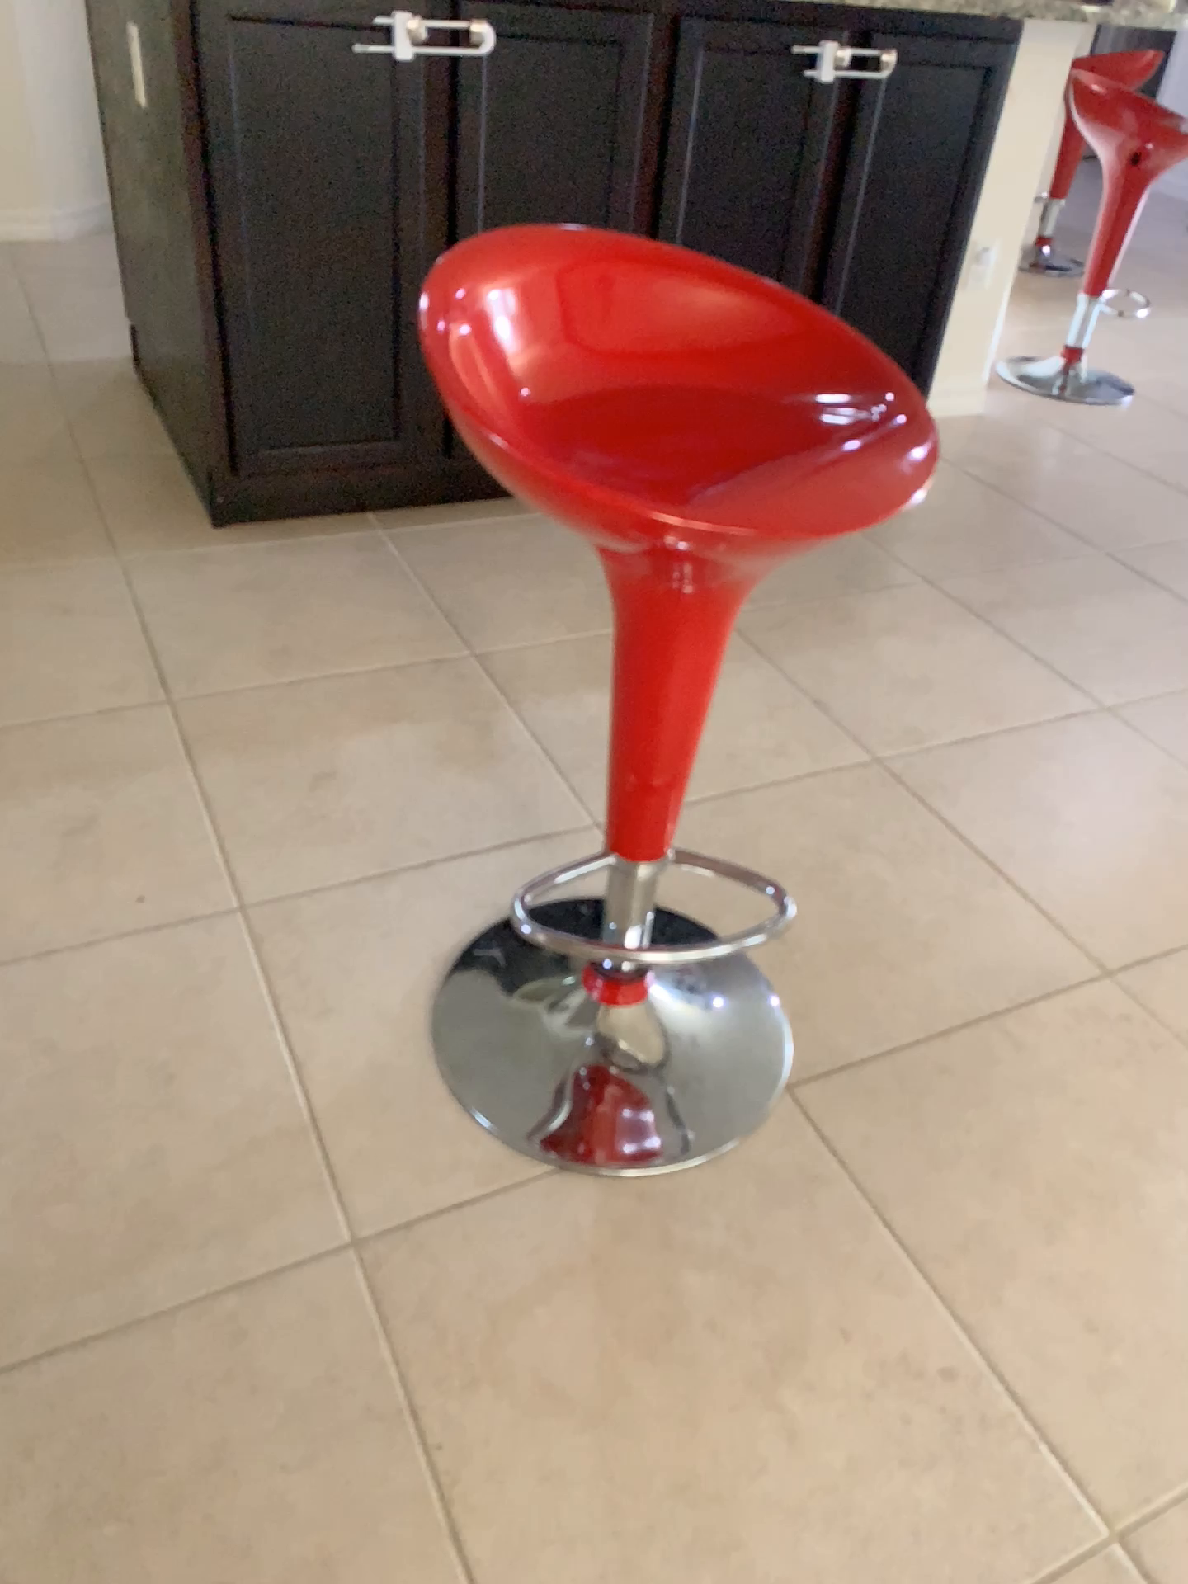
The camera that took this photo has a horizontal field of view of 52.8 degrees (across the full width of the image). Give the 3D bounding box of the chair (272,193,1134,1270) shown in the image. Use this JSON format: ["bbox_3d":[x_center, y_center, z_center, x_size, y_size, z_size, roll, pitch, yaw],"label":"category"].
[{"bbox_3d":[0.050,-0.072,1.053,0.433,0.726,0.440,33,43,32],"label":"chair"}]

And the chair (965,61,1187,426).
[{"bbox_3d":[1.304,-1.413,3.068,0.461,0.716,0.553,9,36,5],"label":"chair"}]
